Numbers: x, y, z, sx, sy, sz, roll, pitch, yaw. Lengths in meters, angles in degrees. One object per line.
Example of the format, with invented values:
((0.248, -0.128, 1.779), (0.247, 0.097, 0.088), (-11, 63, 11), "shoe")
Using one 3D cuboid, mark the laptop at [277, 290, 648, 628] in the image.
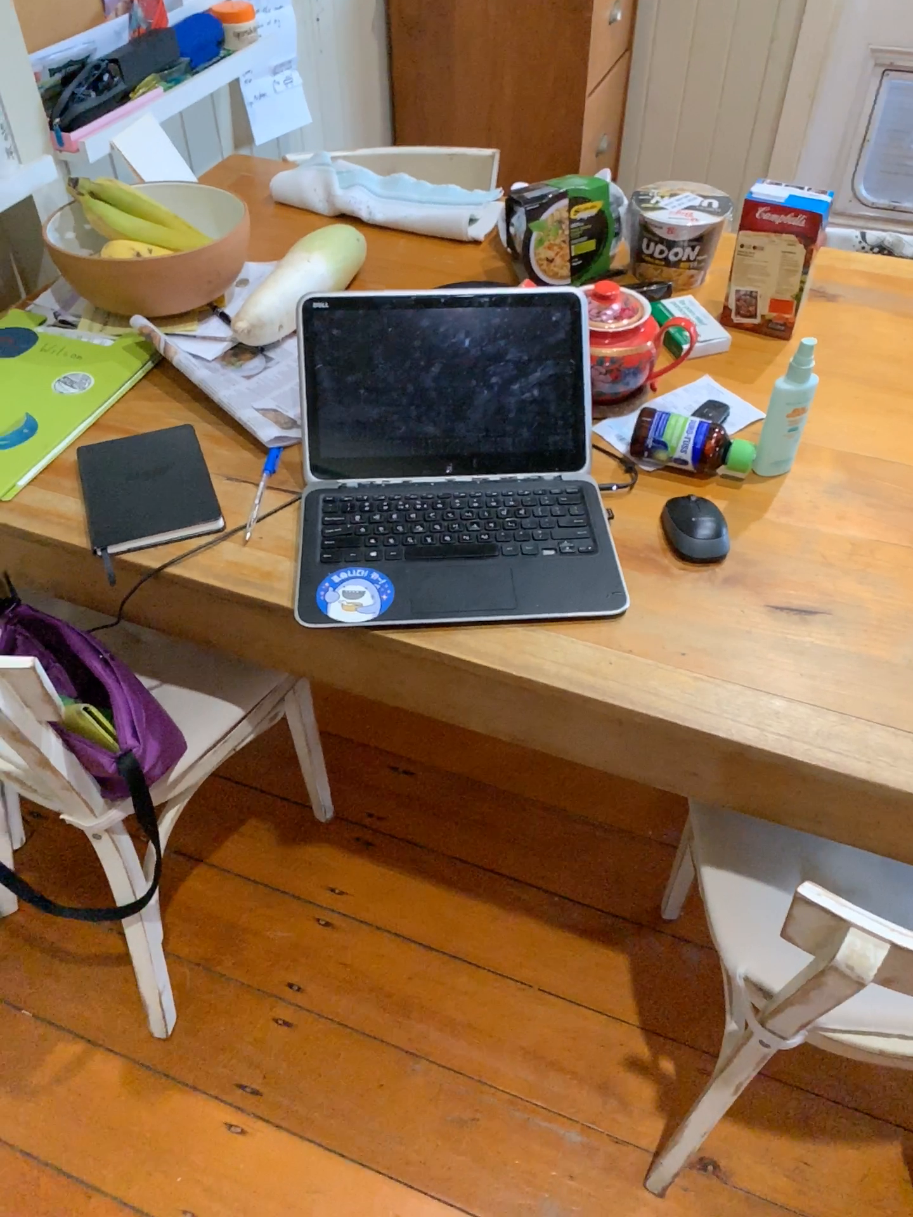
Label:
((-0.003, -0.163, 0.927), (0.303, 0.139, 0.341), (-3, 46, -3), "laptop")
